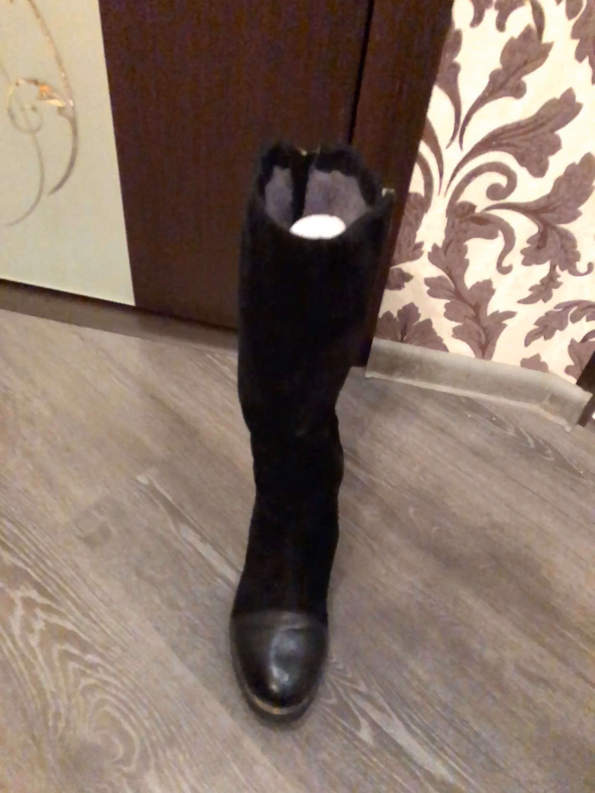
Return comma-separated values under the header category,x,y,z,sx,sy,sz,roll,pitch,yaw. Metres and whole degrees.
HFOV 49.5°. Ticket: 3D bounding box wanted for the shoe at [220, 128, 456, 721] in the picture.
category,x,y,z,sx,sy,sz,roll,pitch,yaw
shoe,0.002,0.050,0.505,0.100,0.407,0.252,4,46,-3
